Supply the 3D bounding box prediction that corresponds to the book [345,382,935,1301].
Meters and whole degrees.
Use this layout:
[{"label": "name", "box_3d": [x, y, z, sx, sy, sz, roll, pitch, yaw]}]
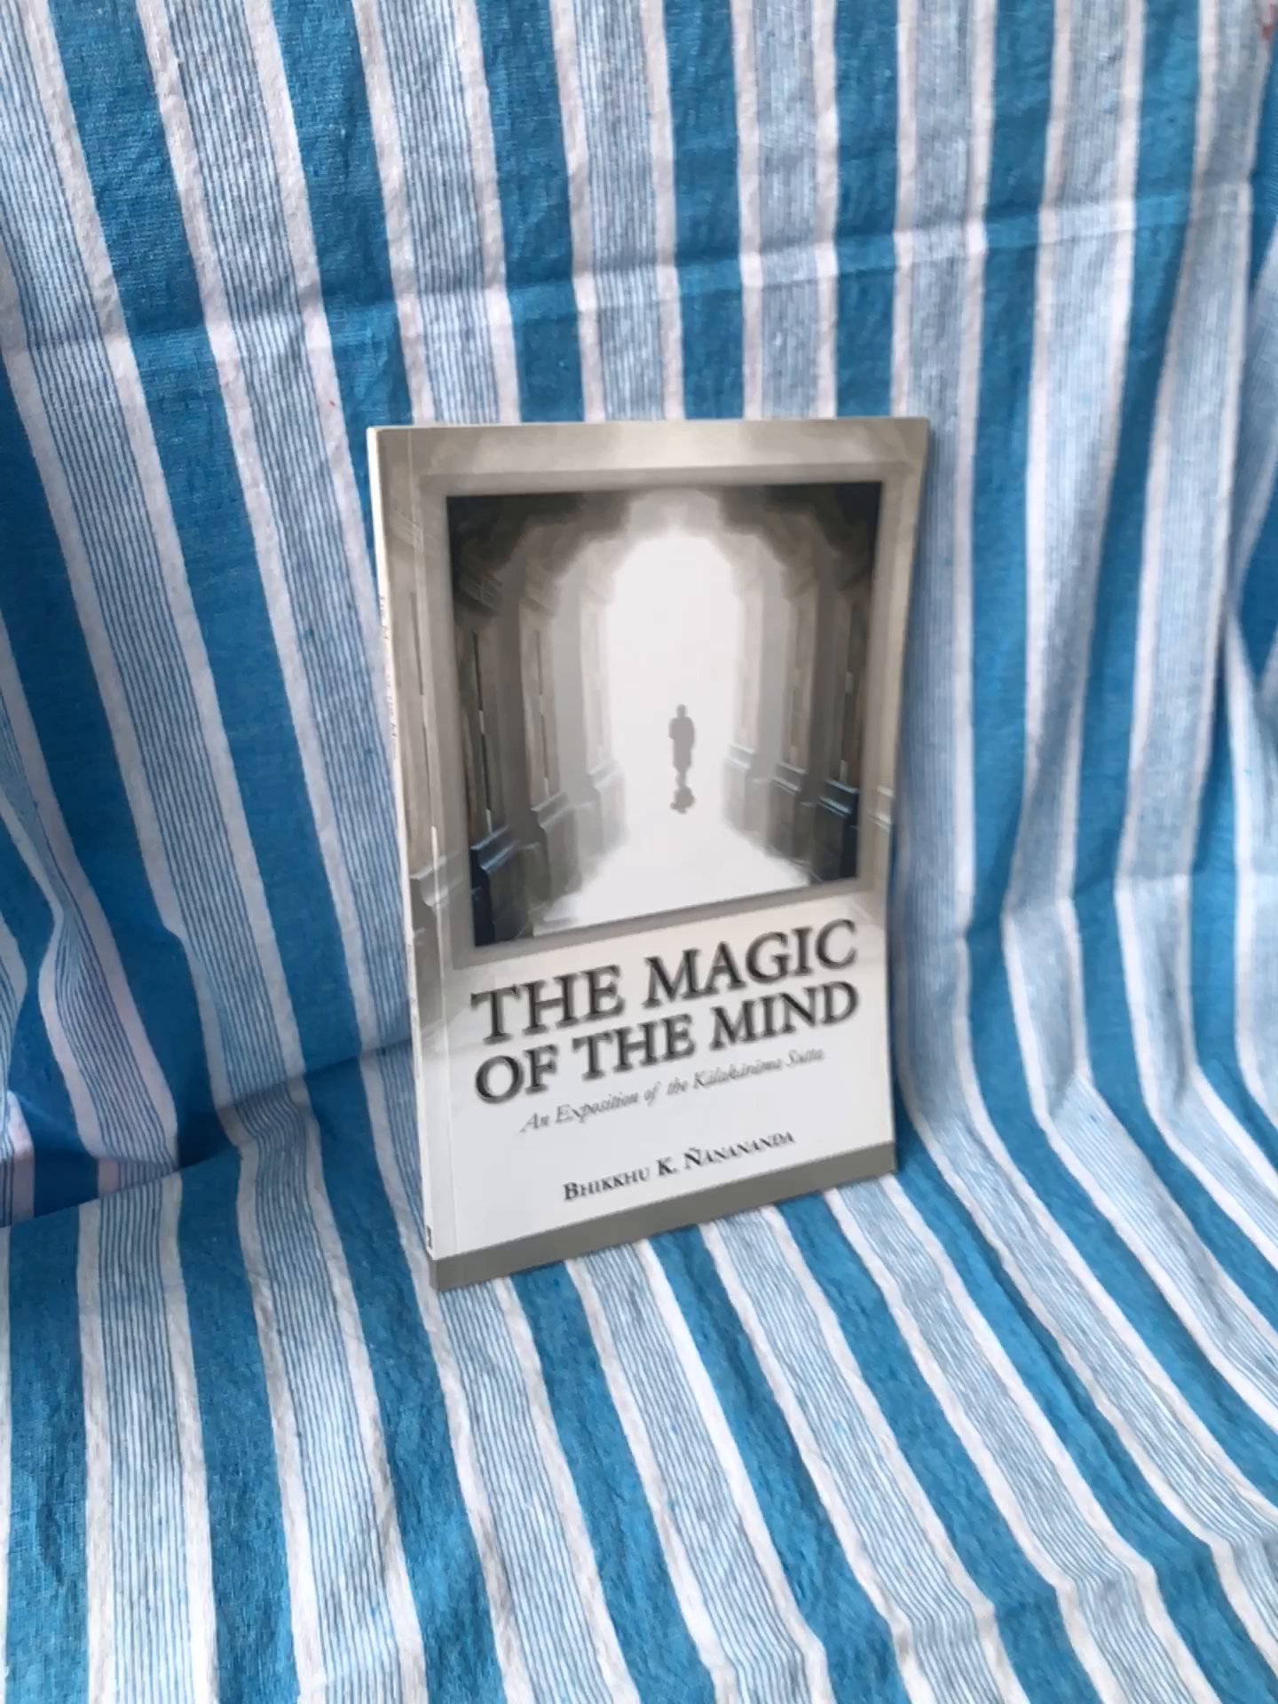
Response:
[{"label": "book", "box_3d": [0.009, -0.005, 0.365, 0.150, 0.219, 0.010, -8, 15, -24]}]
